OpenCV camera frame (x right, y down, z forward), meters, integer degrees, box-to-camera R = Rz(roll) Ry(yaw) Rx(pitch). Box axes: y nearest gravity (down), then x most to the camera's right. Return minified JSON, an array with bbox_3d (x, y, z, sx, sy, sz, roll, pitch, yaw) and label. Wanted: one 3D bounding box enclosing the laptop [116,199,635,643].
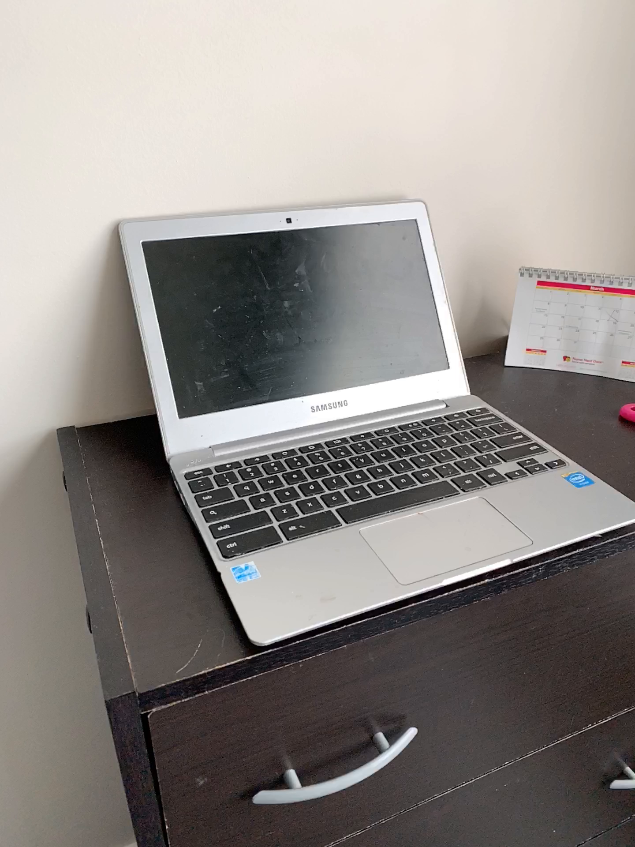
[{"bbox_3d":[0.035,-0.053,0.487,0.291,0.153,0.318,-12,31,-22],"label":"laptop"}]
